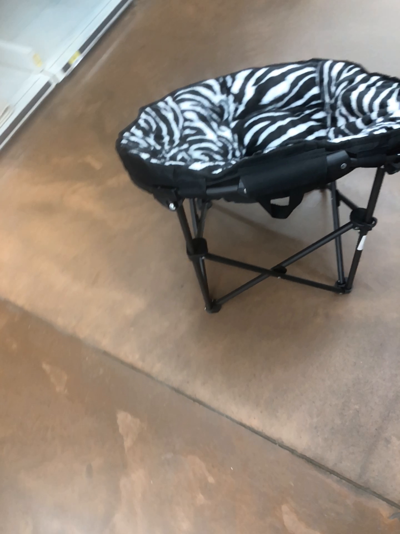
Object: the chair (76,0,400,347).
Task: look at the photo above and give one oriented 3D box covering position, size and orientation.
[{"bbox_3d":[0.126,-0.246,1.027,0.610,0.599,0.601,-10,60,4],"label":"chair"}]
